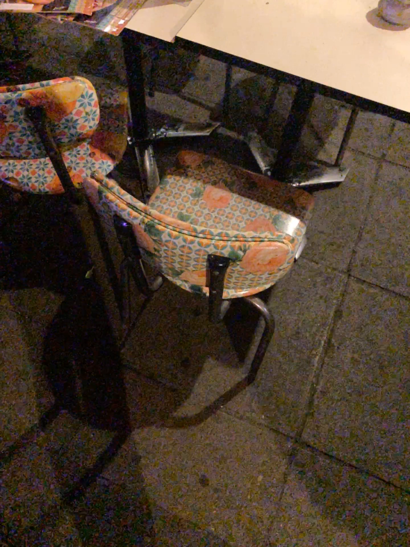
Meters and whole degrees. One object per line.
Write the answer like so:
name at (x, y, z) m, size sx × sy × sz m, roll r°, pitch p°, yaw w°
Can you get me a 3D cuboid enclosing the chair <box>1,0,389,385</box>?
chair at (0.013, -0.162, 1.054) m, size 0.520 × 0.696 × 0.573 m, roll 20°, pitch 63°, yaw 8°
